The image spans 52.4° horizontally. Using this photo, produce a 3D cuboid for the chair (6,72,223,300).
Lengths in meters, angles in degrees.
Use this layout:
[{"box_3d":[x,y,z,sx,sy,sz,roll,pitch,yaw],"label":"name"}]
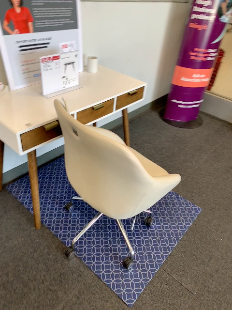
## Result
[{"box_3d":[-0.018,0.086,1.261,0.672,0.736,0.692,32,44,29],"label":"chair"}]
